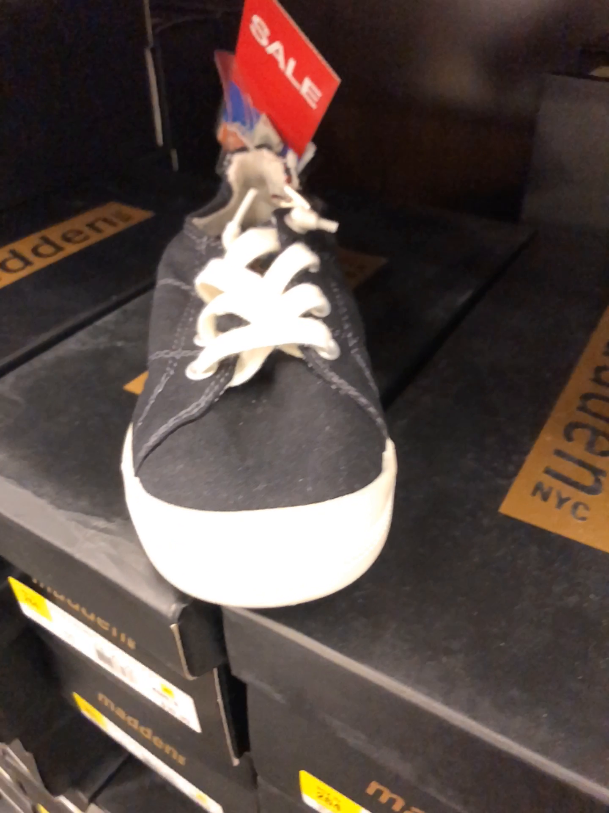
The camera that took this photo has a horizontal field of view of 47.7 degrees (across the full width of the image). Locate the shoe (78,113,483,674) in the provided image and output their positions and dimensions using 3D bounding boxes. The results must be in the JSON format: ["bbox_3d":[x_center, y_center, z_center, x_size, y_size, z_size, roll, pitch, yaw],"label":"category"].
[{"bbox_3d":[-0.018,-0.035,0.254,0.080,0.082,0.235,-4,36,-6],"label":"shoe"}]
